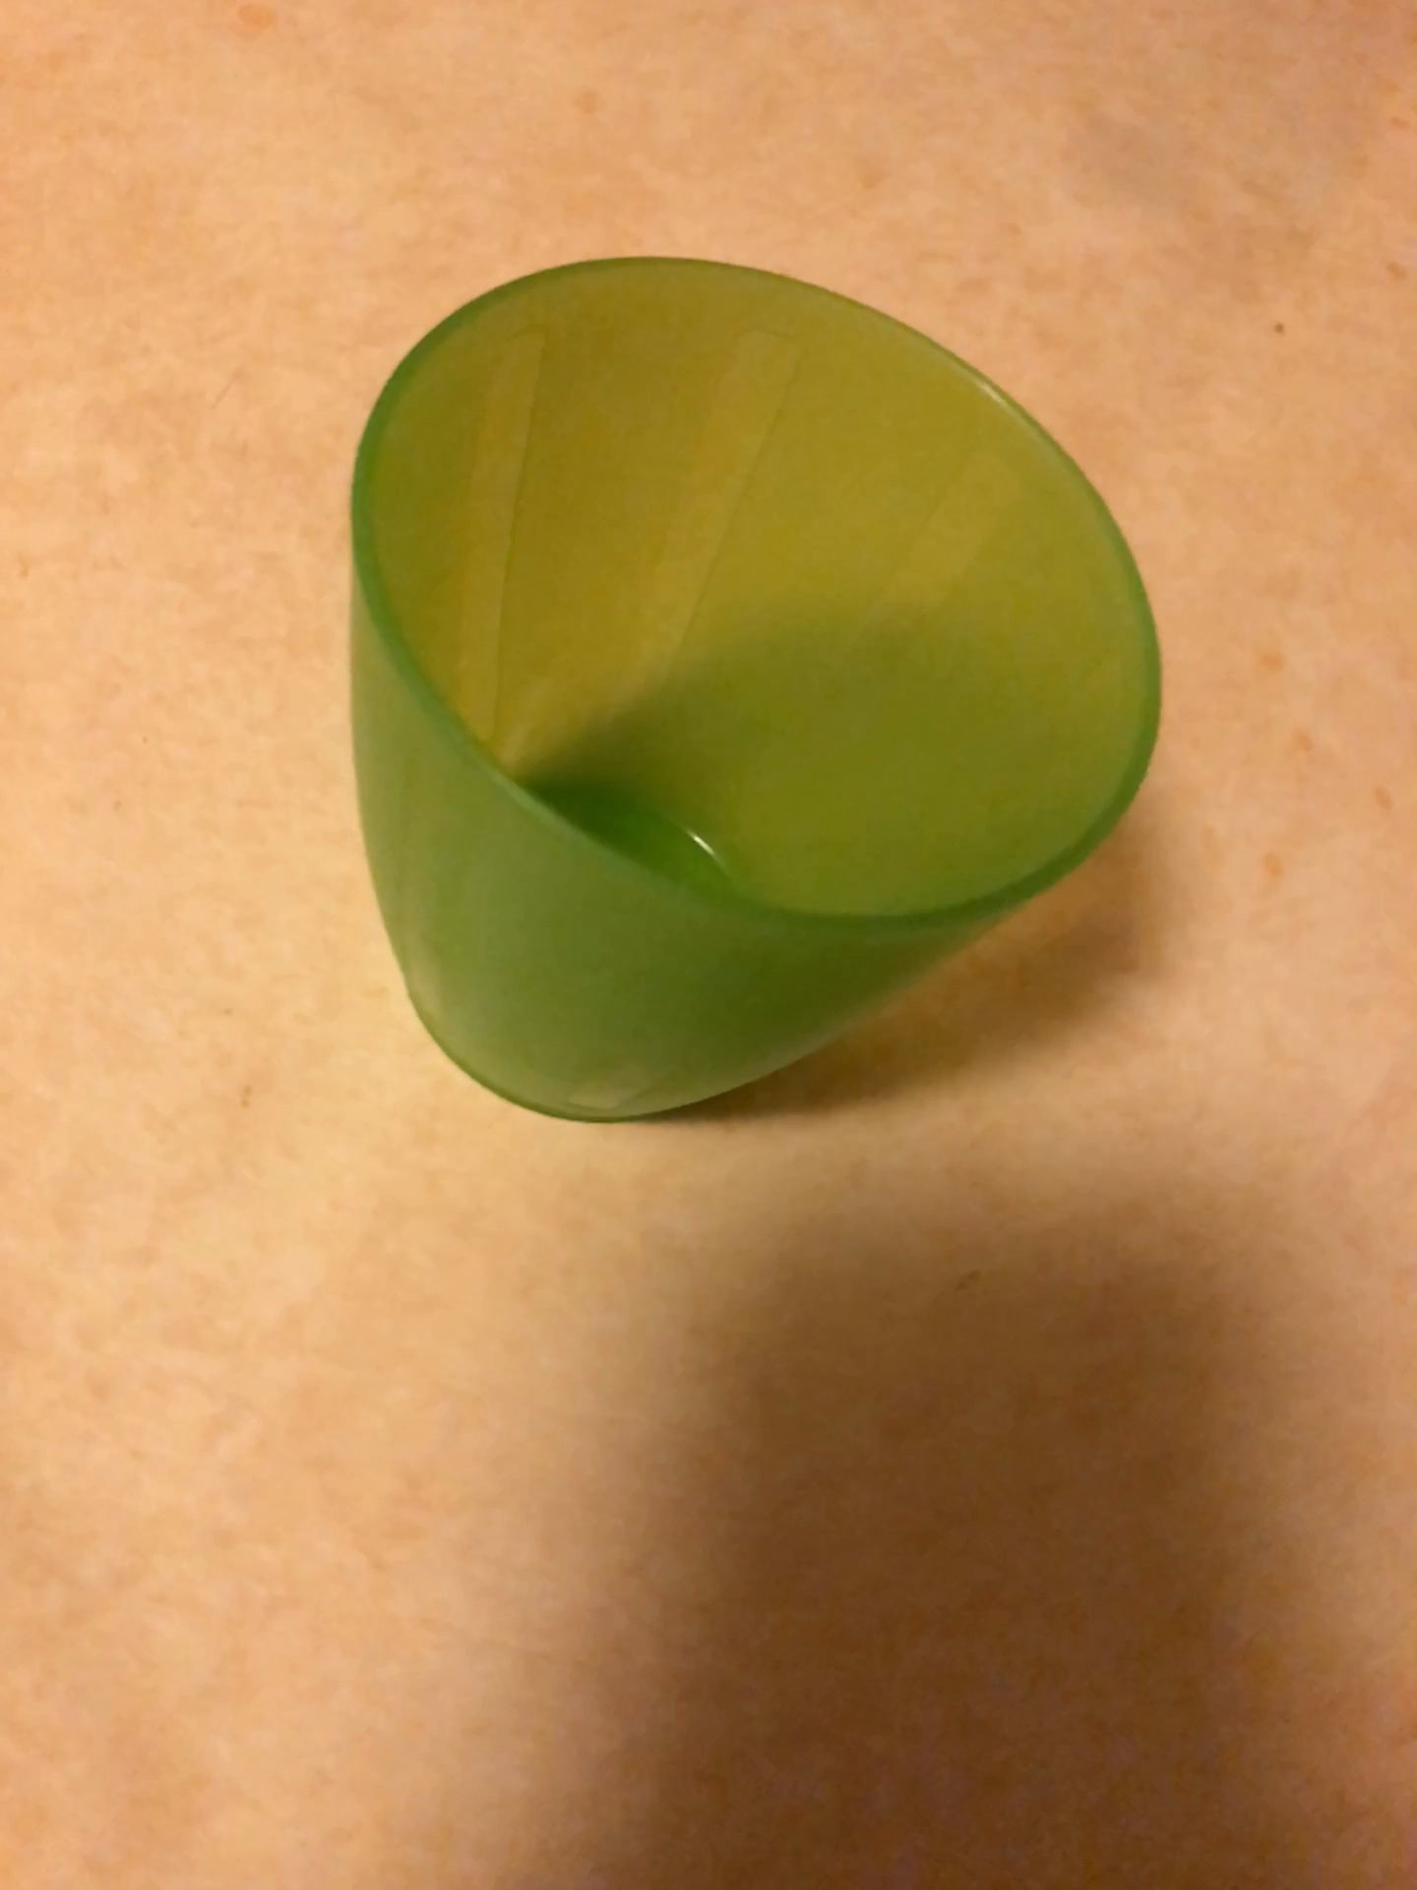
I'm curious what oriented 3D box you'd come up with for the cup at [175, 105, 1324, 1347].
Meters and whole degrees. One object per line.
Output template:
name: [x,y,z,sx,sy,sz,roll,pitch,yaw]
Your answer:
cup: [0.002,-0.021,0.171,0.080,0.070,0.080,9,59,-15]
